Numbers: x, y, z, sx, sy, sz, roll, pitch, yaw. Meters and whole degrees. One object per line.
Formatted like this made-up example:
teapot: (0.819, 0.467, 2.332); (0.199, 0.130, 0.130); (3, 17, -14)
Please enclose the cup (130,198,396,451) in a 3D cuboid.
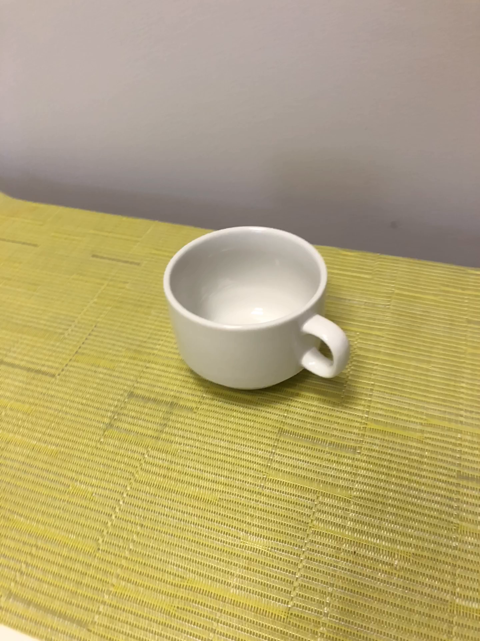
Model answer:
cup: (0.009, -0.006, 0.291); (0.086, 0.057, 0.110); (-28, 47, -23)
